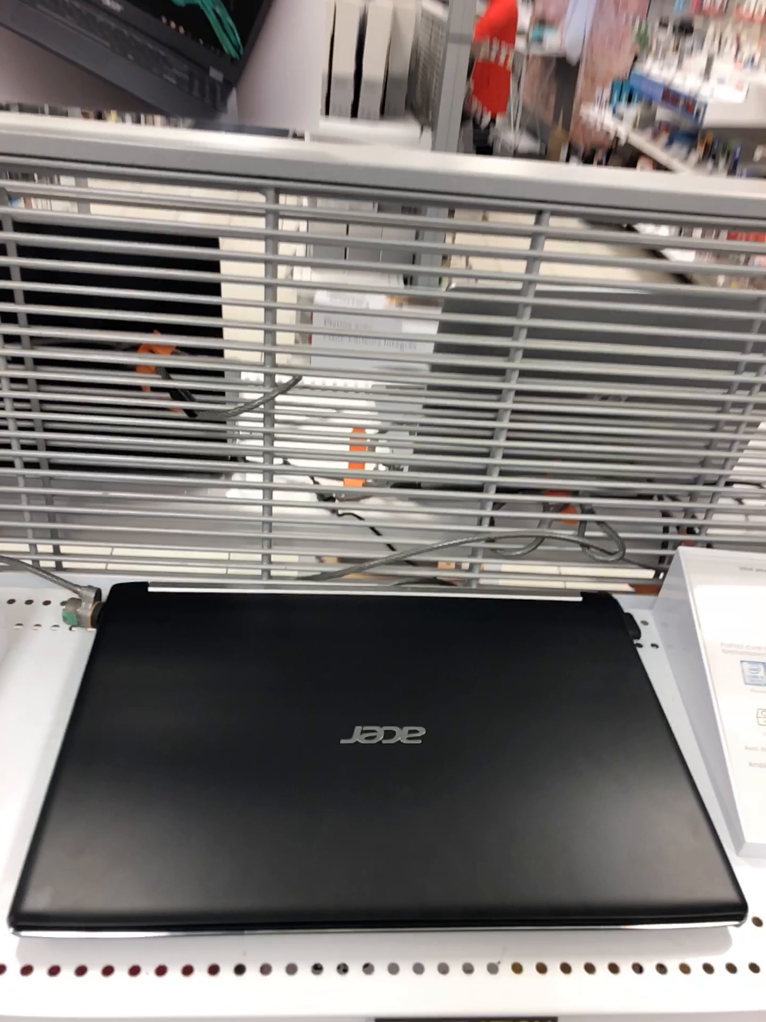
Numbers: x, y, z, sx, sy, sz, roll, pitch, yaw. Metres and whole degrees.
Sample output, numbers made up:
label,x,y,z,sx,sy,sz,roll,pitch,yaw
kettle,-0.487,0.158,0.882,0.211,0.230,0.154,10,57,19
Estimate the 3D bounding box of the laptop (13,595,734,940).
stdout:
label,x,y,z,sx,sy,sz,roll,pitch,yaw
laptop,-0.001,0.137,0.512,0.361,0.012,0.228,2,37,-7
